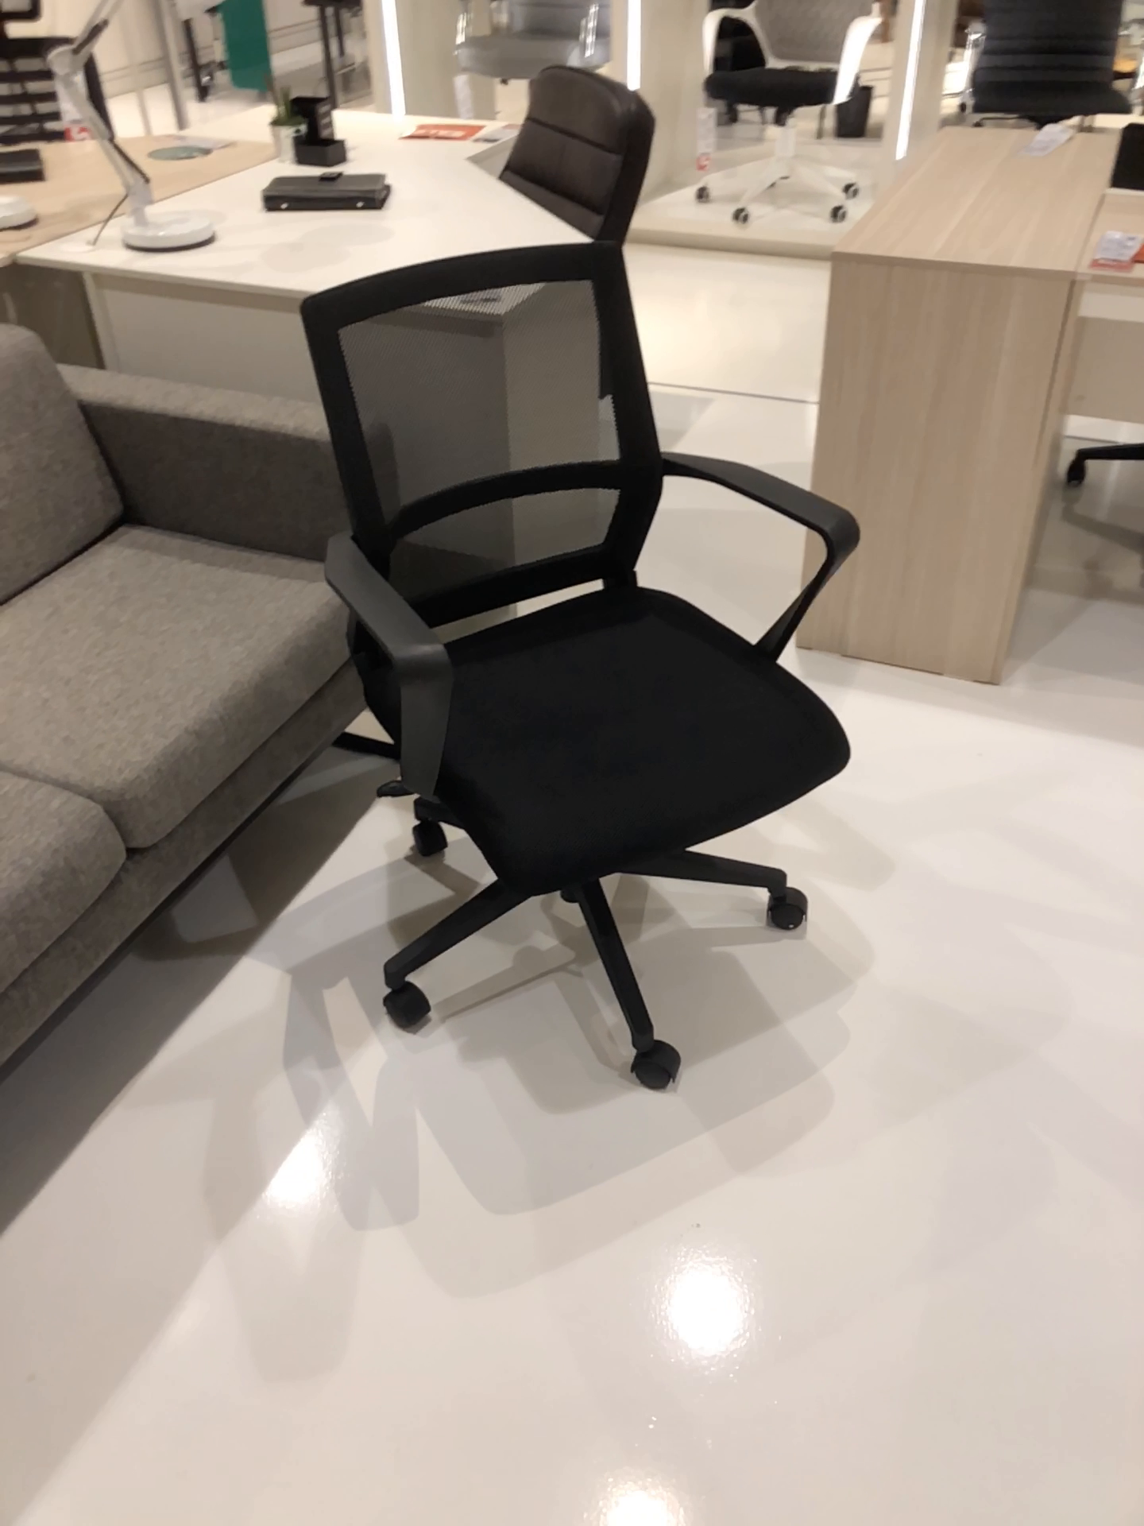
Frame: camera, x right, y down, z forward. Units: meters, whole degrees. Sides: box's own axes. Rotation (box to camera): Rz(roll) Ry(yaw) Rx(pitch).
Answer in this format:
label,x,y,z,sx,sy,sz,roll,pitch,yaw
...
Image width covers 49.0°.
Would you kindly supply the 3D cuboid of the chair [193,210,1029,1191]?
label,x,y,z,sx,sy,sz,roll,pitch,yaw
chair,0.022,-0.113,1.638,0.682,0.932,0.634,-19,40,-22
